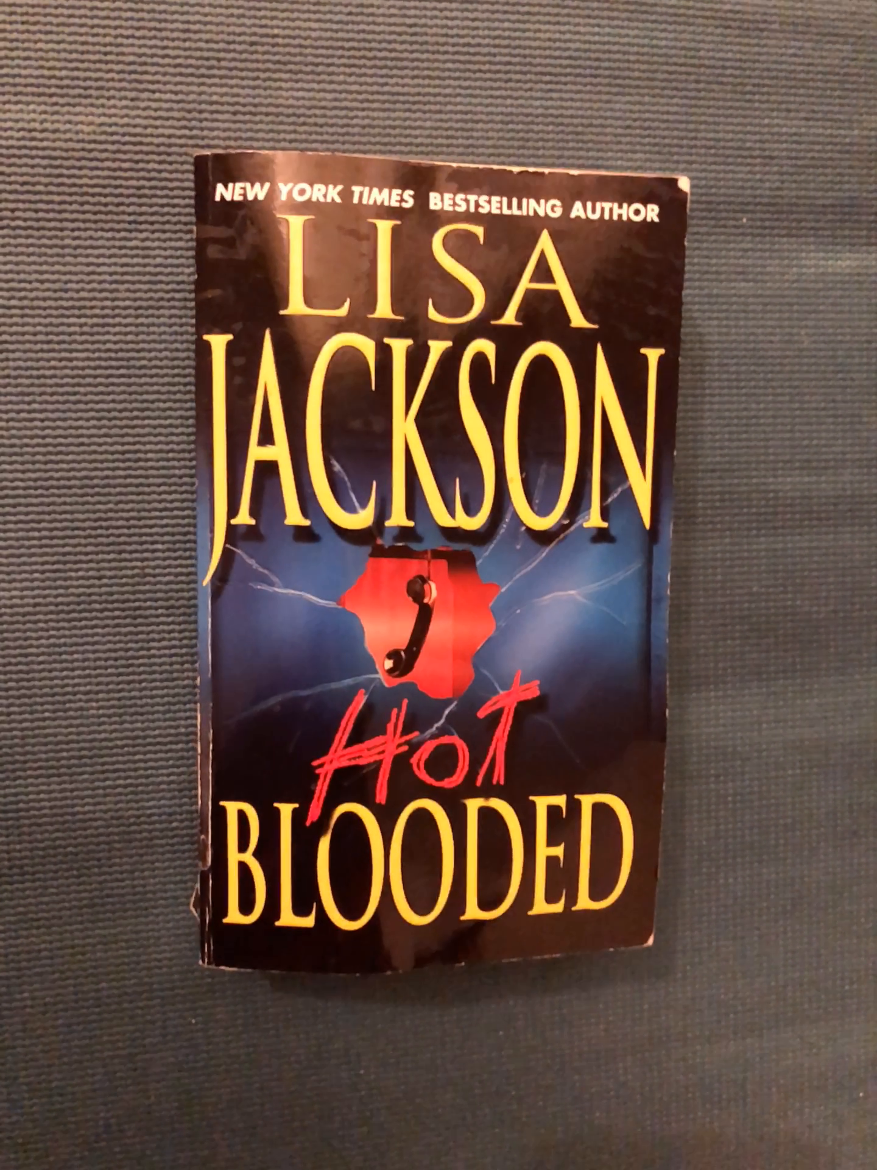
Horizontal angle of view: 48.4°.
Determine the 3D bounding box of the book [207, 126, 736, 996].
[{"bbox_3d":[0.004,-0.003,0.216,0.103,0.040,0.171,1,95,-6],"label":"book"}]
